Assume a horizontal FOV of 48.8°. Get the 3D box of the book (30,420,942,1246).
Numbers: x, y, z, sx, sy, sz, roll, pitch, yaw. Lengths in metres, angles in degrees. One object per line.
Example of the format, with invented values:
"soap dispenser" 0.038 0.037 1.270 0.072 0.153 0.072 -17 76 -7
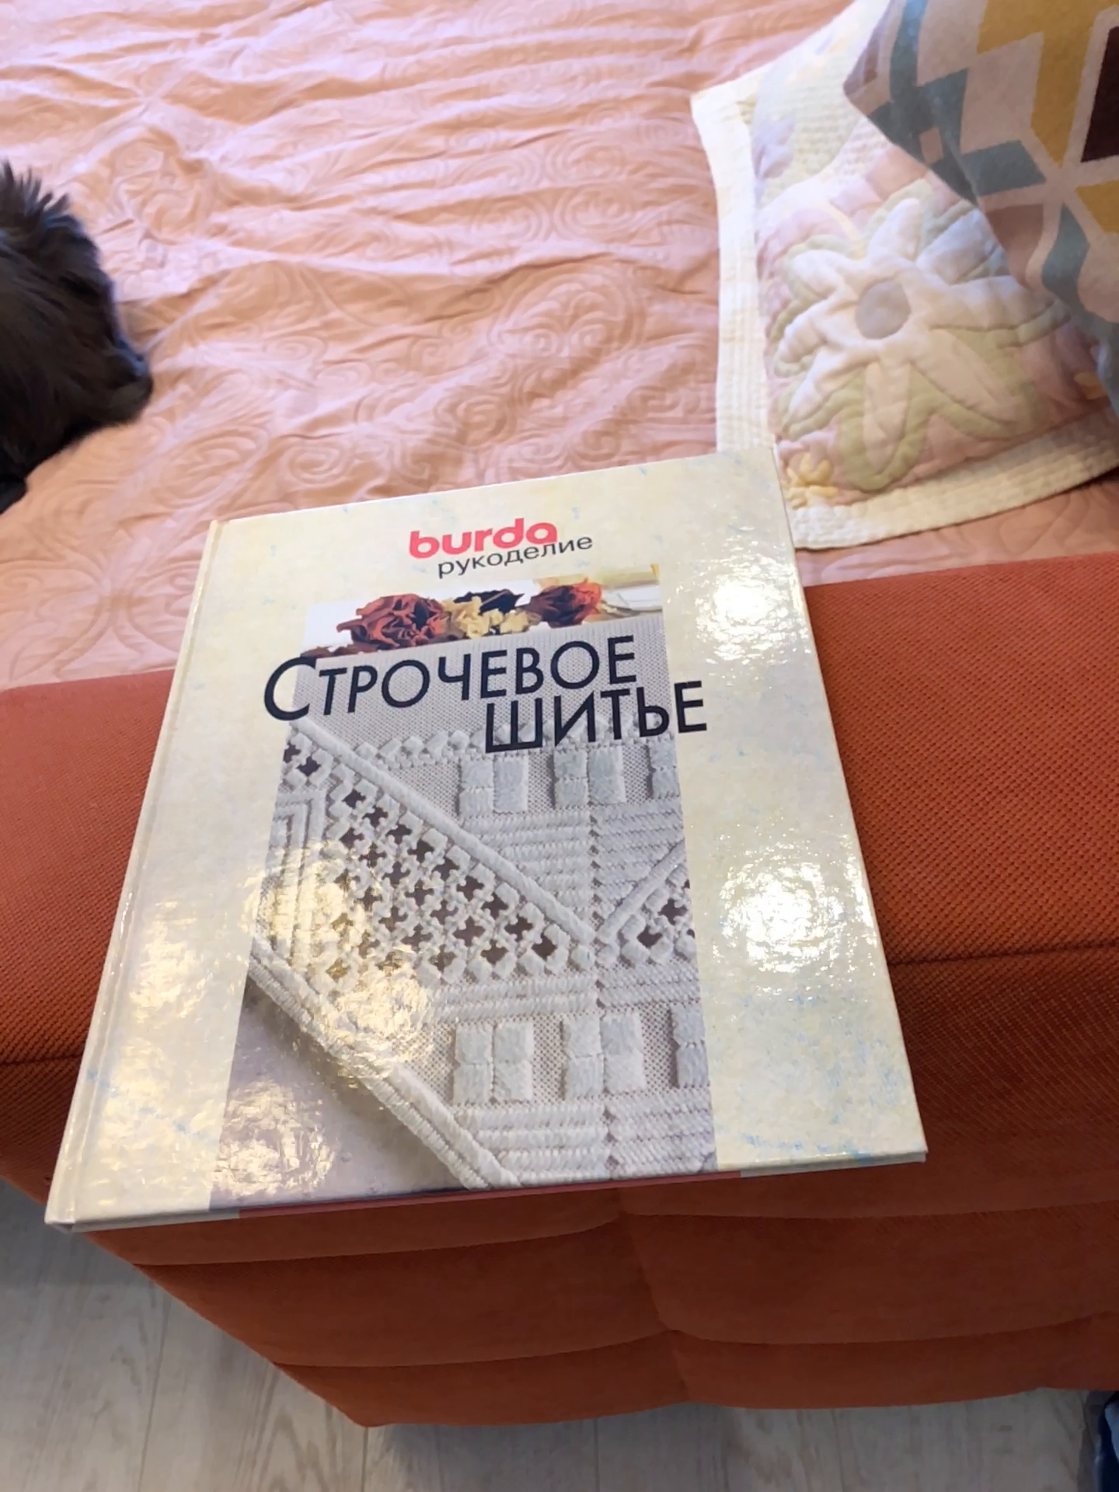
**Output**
"book" -0.023 0.006 0.373 0.215 0.020 0.259 -7 52 6
